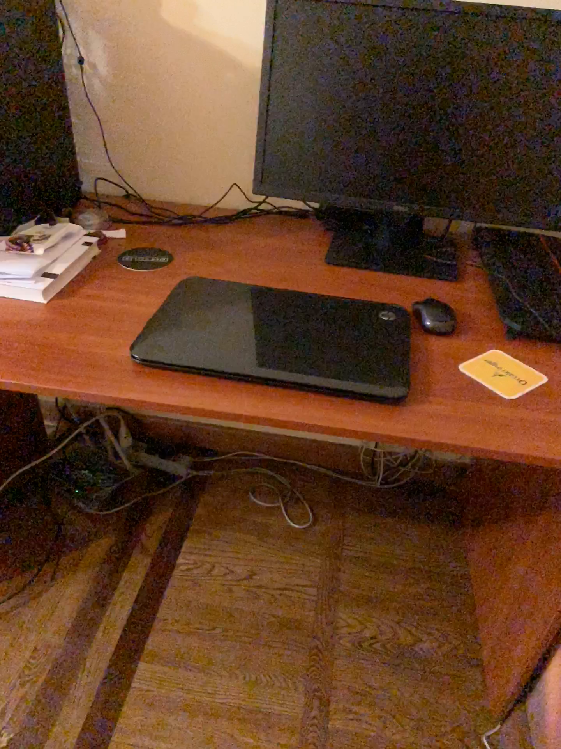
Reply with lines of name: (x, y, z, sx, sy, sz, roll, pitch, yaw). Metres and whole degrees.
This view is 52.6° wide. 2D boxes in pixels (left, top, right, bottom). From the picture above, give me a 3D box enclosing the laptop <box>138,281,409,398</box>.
laptop: (0.004, -0.067, 0.877, 0.381, 0.001, 0.244, 8, 36, 7)
